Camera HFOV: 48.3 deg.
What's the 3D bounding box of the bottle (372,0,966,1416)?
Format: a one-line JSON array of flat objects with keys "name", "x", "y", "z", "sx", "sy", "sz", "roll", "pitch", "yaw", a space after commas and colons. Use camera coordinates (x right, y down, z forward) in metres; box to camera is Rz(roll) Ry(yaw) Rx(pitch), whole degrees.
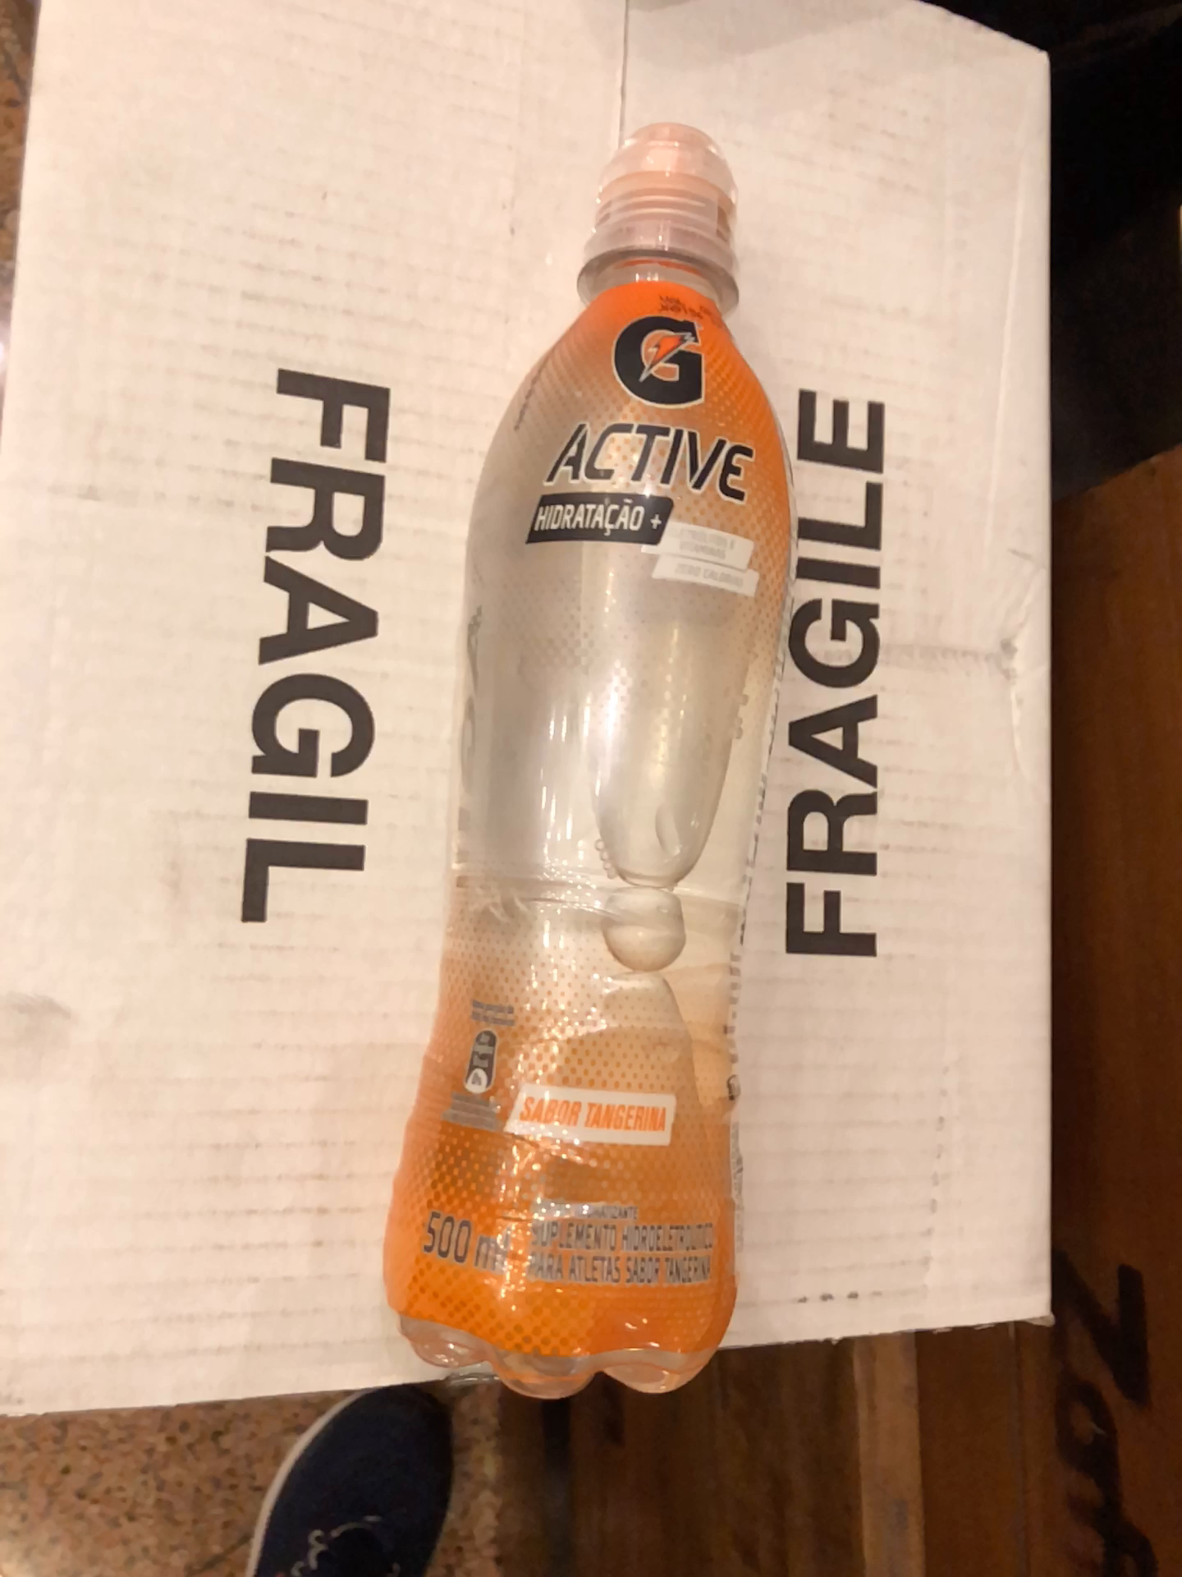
[{"name": "bottle", "x": 0.015, "y": -0.024, "z": 0.248, "sx": 0.070, "sy": 0.060, "sz": 0.250, "roll": 9, "pitch": 82, "yaw": -18}]
